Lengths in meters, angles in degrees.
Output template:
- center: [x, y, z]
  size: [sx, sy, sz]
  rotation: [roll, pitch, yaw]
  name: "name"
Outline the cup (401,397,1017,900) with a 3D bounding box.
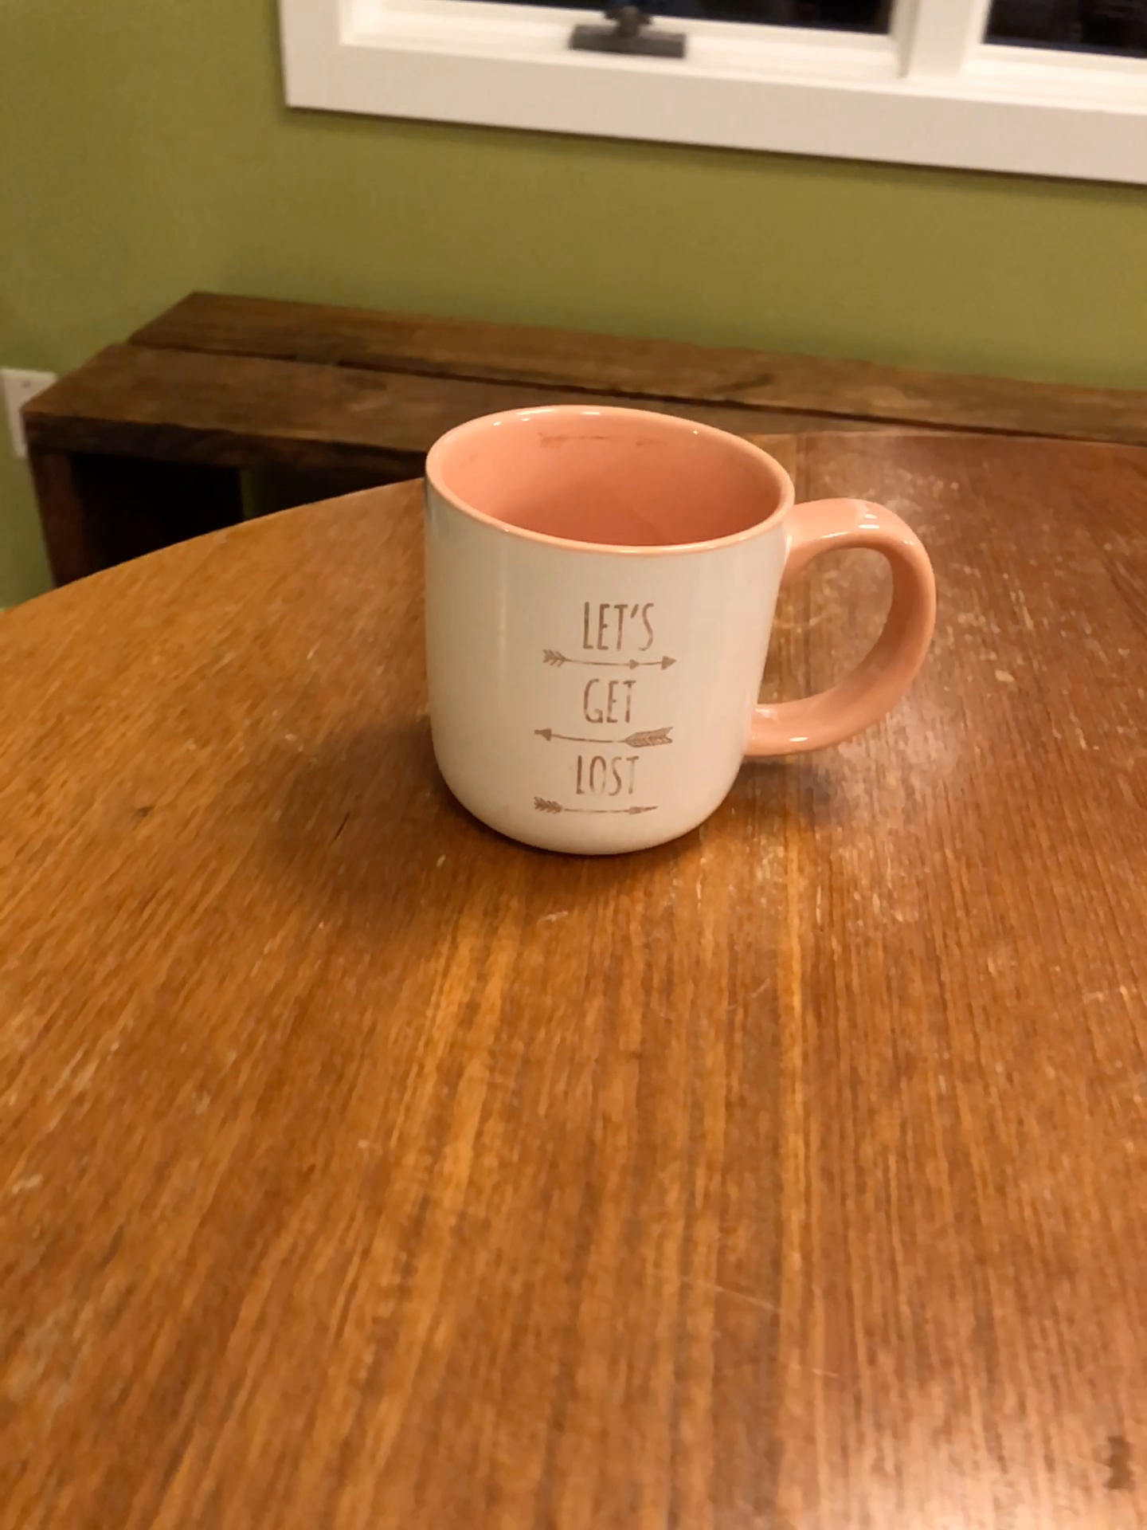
- center: [0.027, -0.038, 0.368]
  size: [0.144, 0.106, 0.094]
  rotation: [-4, 35, -11]
  name: "cup"
